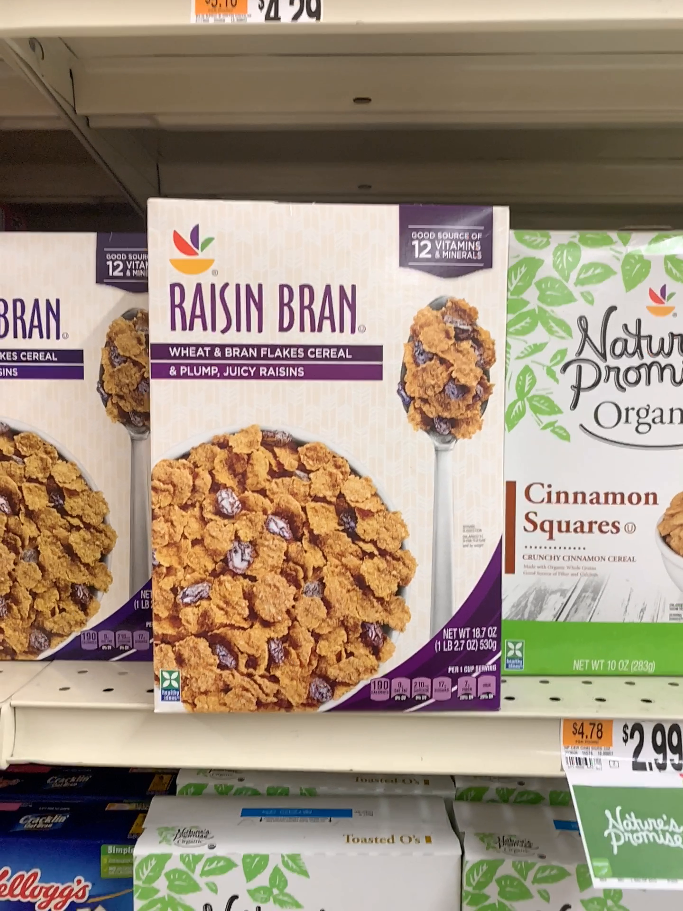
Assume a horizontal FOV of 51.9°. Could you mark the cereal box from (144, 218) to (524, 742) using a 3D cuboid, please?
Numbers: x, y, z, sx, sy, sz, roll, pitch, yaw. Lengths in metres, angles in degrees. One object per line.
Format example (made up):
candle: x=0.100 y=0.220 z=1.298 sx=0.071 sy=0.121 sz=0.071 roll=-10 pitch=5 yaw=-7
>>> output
cereal box: x=-0.005 y=0.014 z=0.396 sx=0.190 sy=0.270 sz=0.070 roll=1 pitch=4 yaw=-1
